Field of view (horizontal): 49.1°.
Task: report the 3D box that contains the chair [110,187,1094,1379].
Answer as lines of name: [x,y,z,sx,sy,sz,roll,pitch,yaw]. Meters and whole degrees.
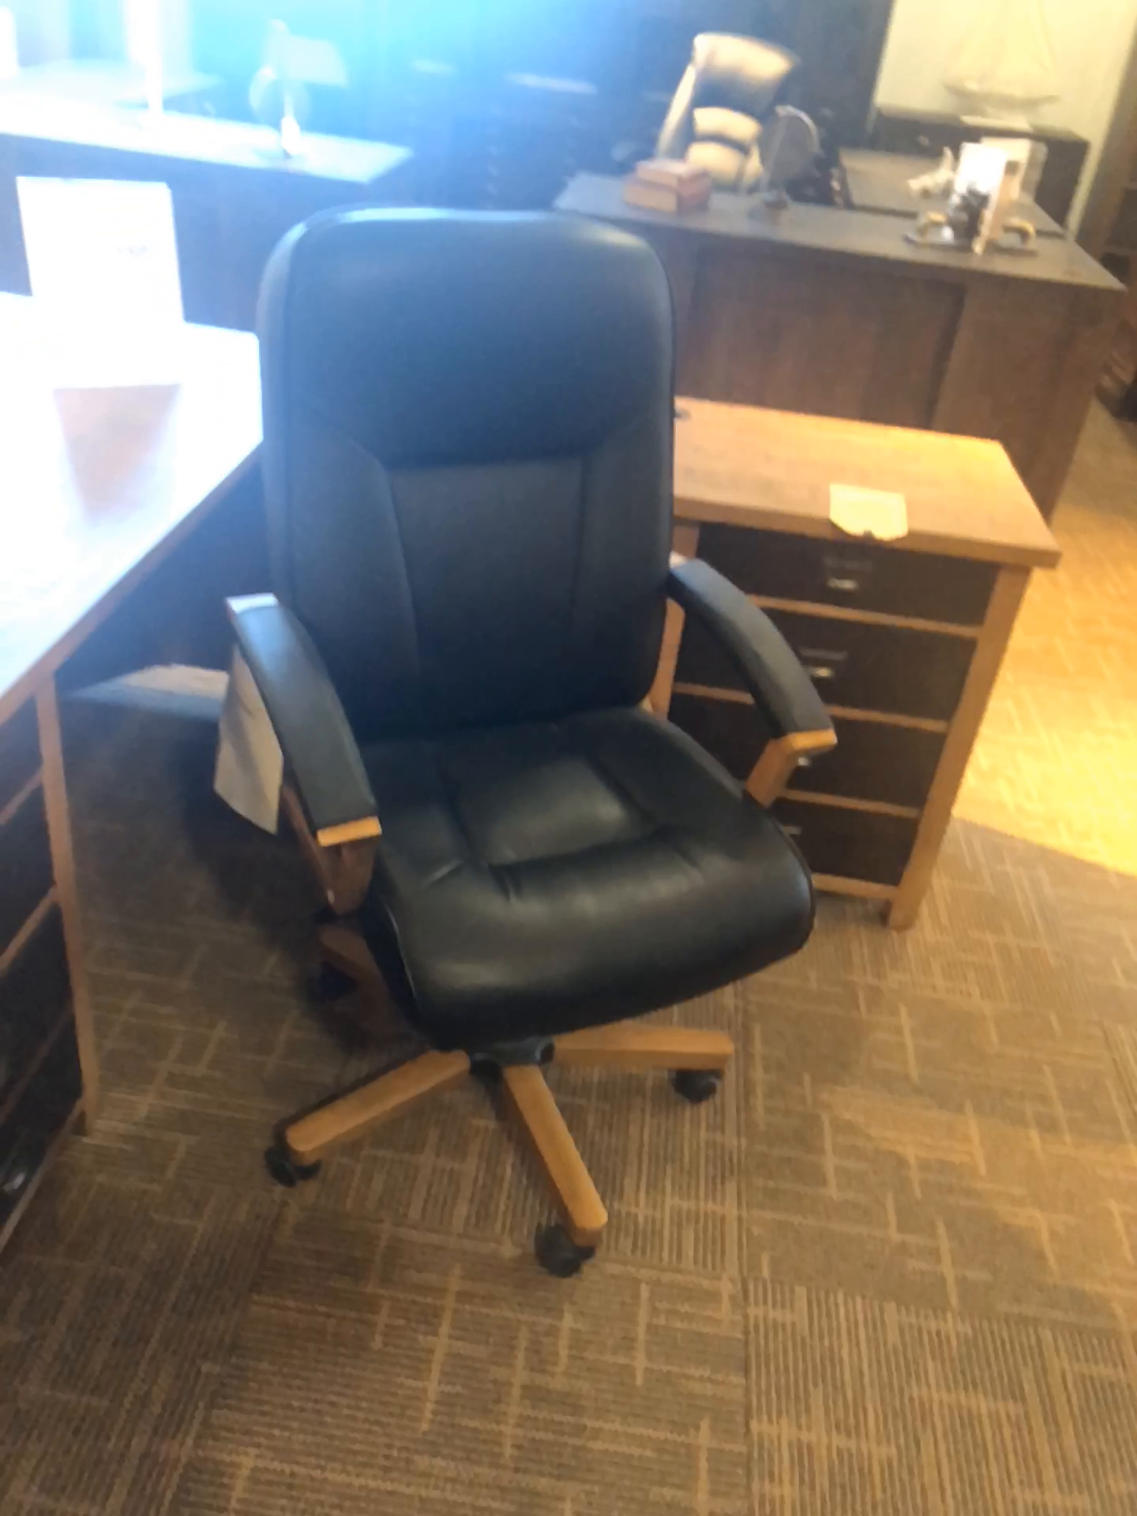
chair: [-0.082,-0.012,1.529,0.739,1.104,0.745,-8,36,-23]
